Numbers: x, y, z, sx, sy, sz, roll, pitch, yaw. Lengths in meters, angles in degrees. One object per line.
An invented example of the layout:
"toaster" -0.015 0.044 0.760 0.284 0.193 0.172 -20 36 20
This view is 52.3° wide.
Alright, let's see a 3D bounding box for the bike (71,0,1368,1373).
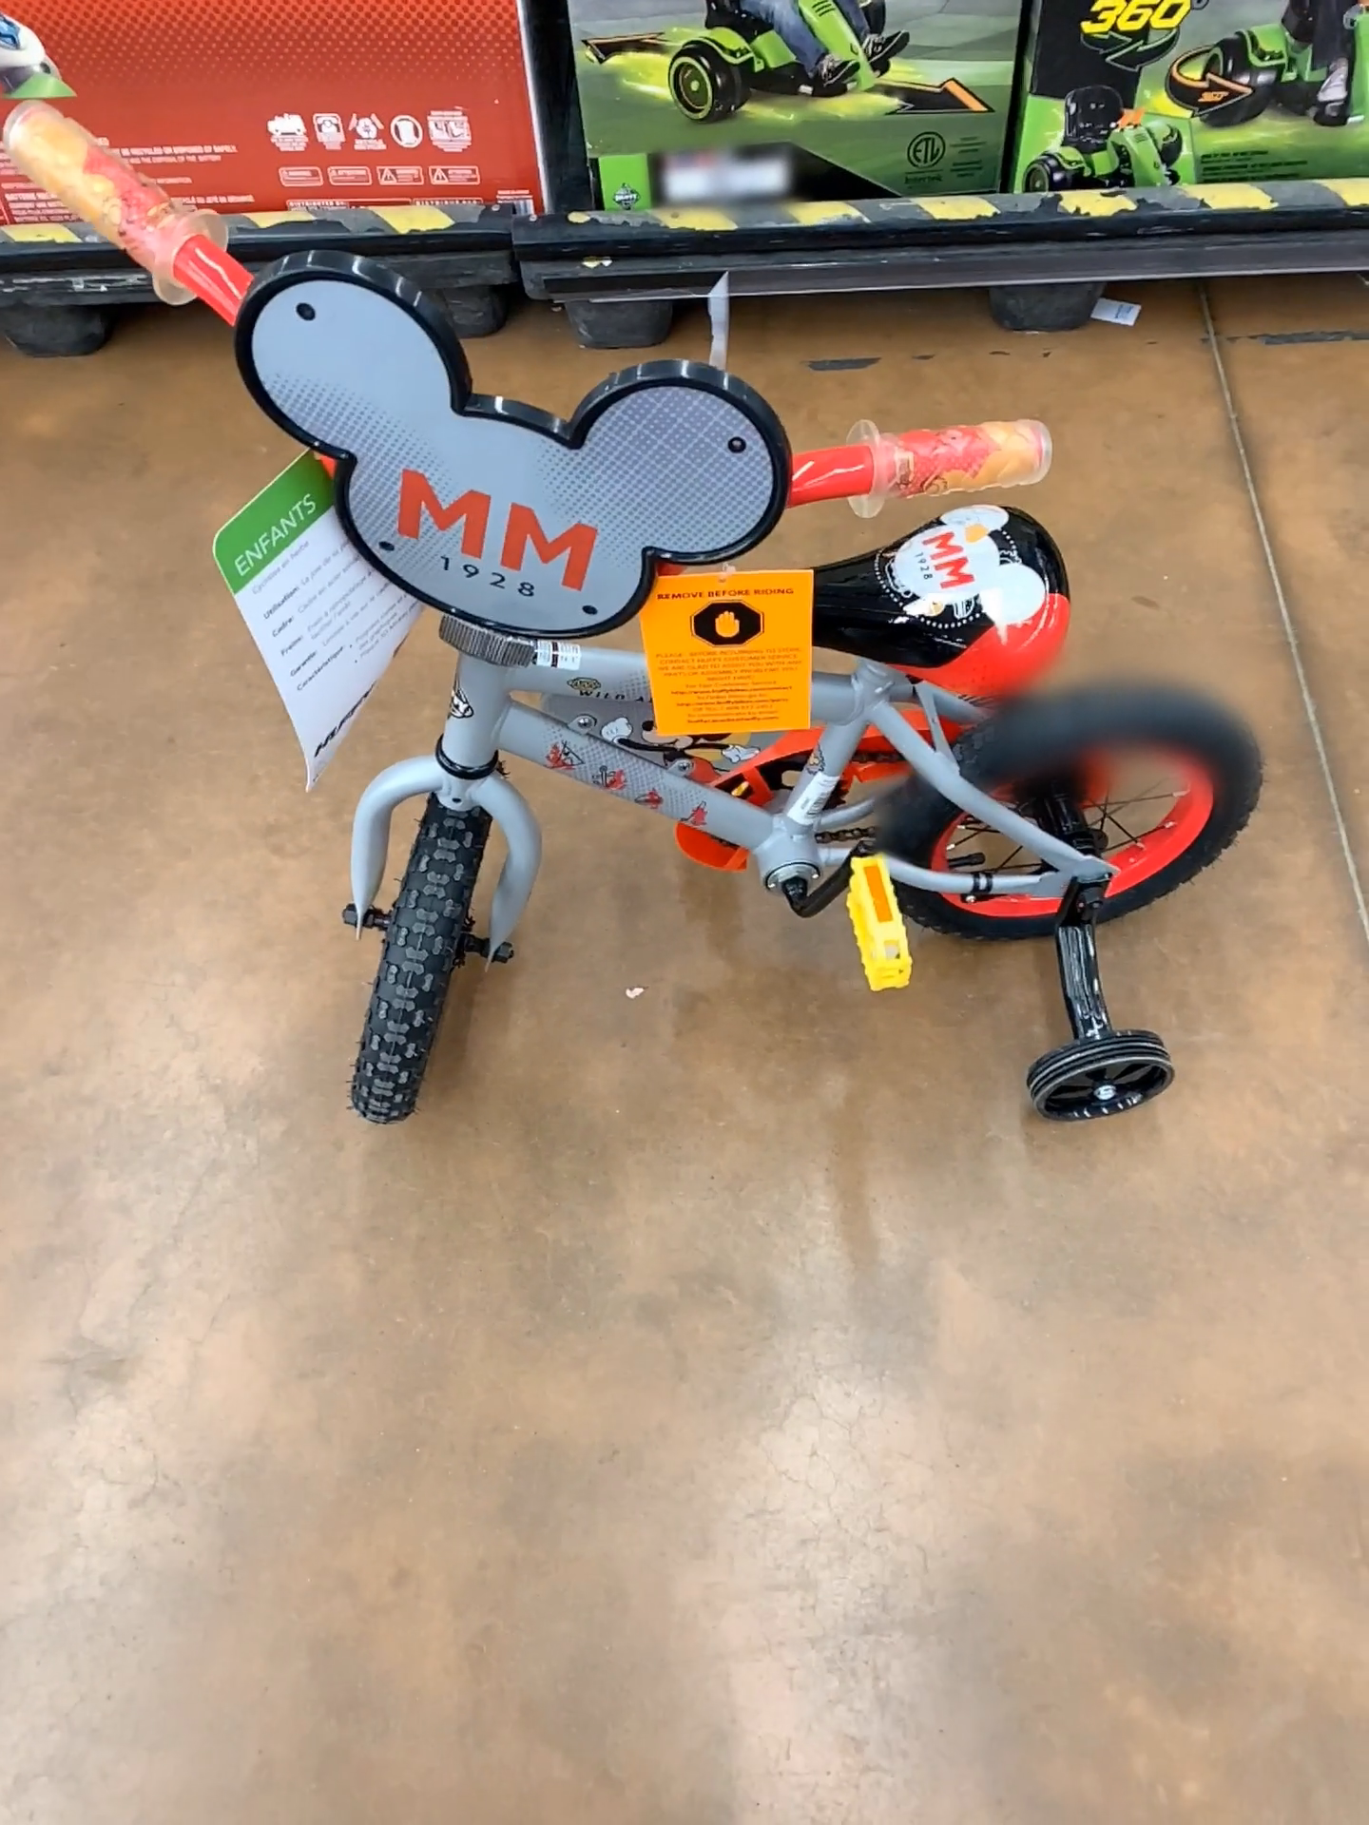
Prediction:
"bike" 0.055 -0.127 0.897 0.640 0.689 0.453 -16 56 -2
